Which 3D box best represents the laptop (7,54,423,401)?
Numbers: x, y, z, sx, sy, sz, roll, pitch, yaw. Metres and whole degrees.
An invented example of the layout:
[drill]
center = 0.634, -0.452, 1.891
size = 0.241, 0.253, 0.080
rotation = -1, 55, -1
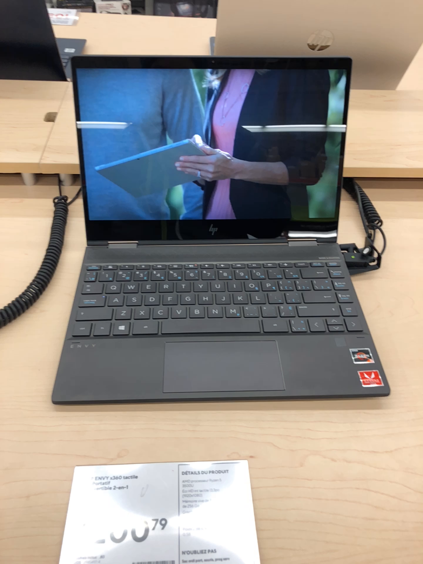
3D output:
[laptop]
center = 0.010, -0.066, 0.452
size = 0.294, 0.182, 0.289
rotation = -1, 46, -5
